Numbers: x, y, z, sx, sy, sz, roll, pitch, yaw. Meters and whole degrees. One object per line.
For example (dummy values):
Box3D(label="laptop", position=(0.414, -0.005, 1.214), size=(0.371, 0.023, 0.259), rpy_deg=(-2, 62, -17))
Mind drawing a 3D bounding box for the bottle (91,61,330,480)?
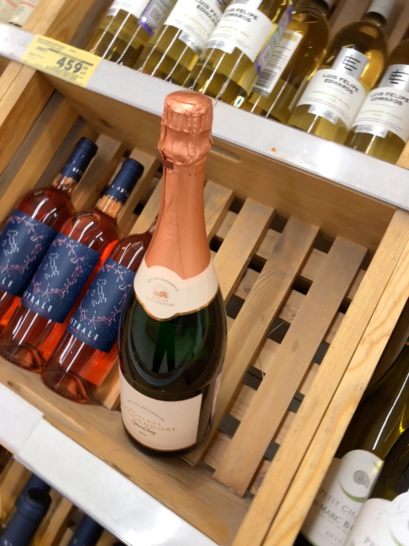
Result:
Box3D(label="bottle", position=(-0.018, 0.022, 0.410), size=(0.120, 0.358, 0.110), rpy_deg=(7, 38, -6))
